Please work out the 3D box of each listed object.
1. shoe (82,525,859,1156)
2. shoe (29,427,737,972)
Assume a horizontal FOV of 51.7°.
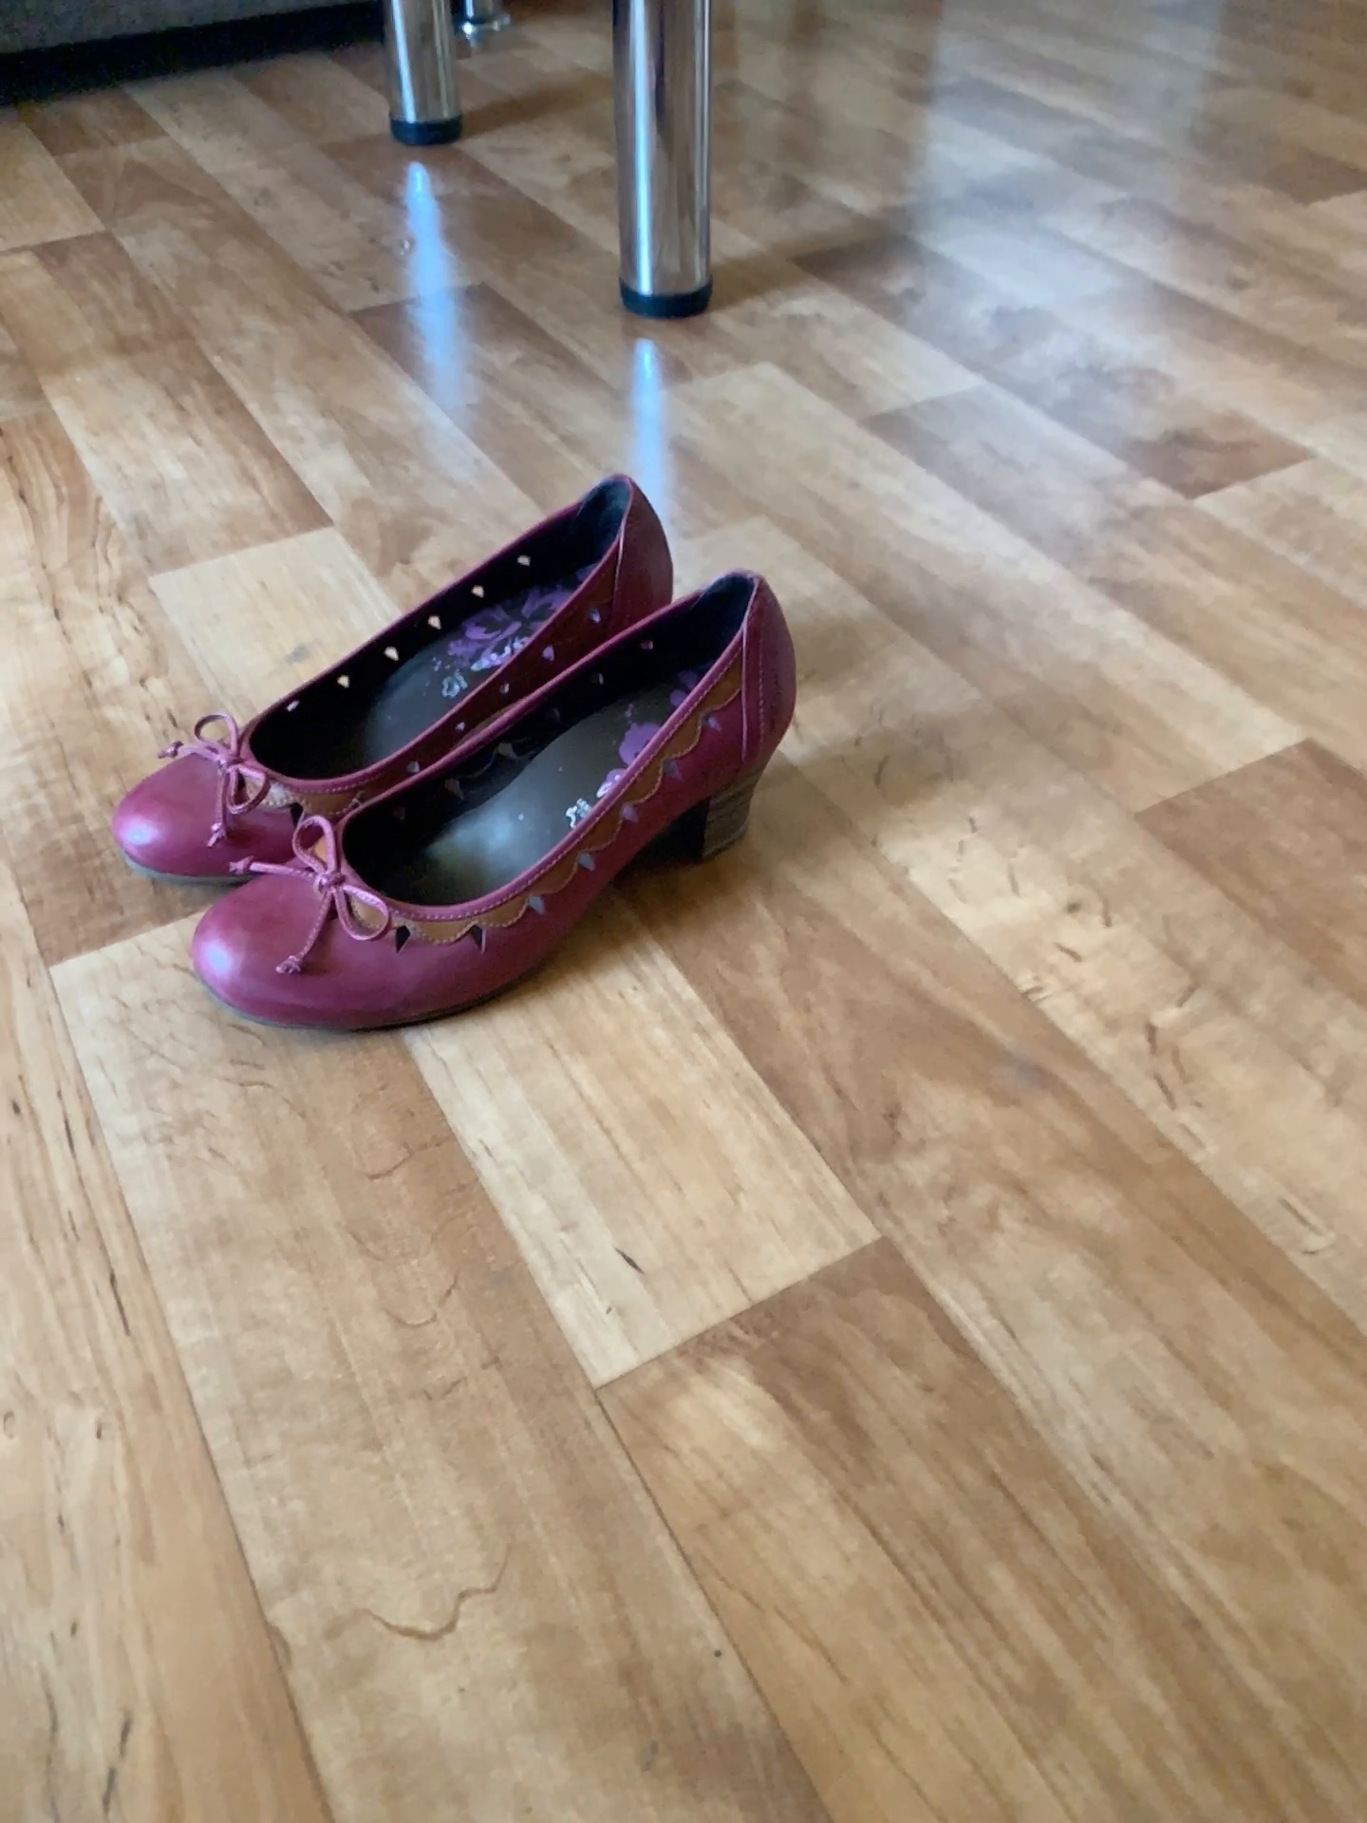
[{"bbox_3d":[-0.063,-0.033,0.501,0.240,0.110,0.090,-26,50,-23],"label":"shoe"},{"bbox_3d":[-0.104,-0.090,0.552,0.240,0.110,0.090,-24,49,-22],"label":"shoe"}]
